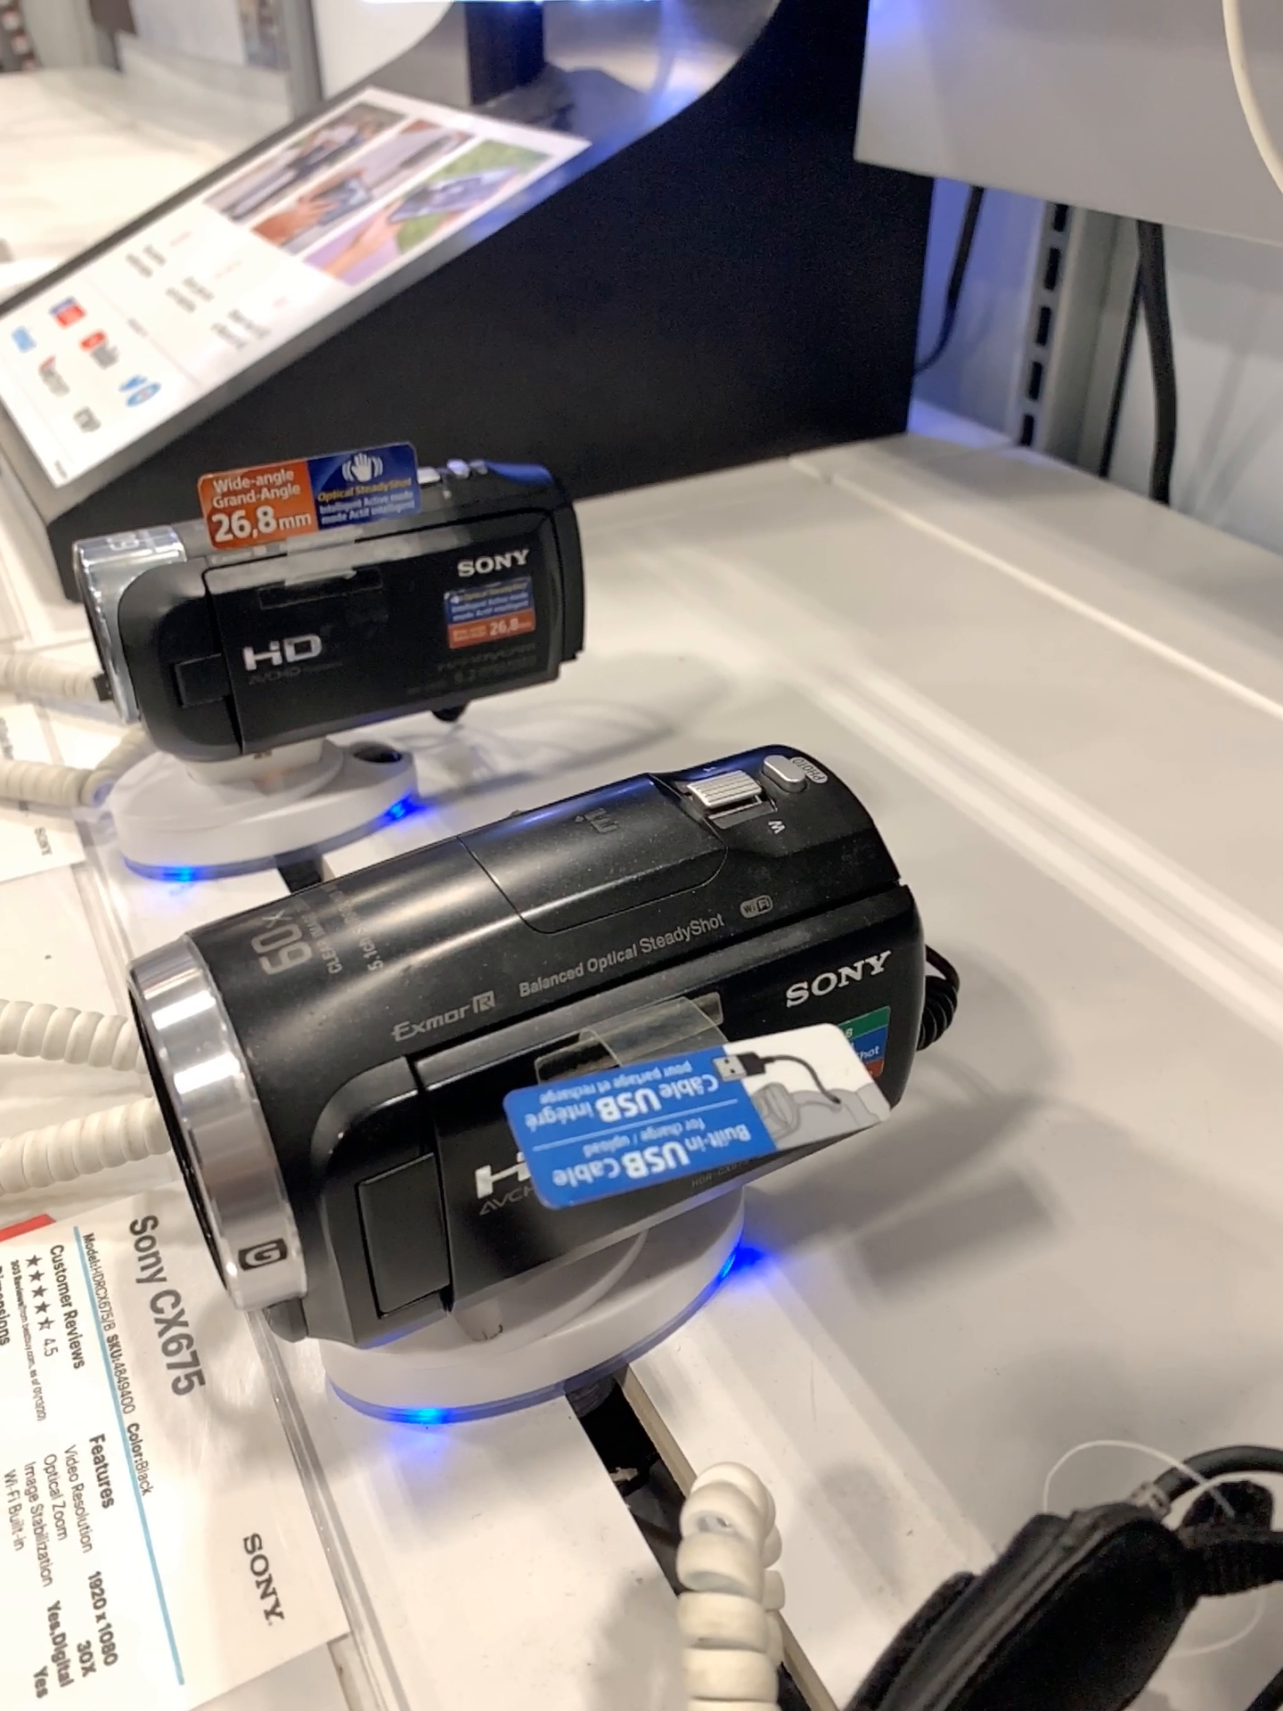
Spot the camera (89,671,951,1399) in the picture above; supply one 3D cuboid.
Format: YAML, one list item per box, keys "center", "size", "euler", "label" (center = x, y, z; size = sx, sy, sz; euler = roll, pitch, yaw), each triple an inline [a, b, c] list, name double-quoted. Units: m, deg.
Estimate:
- center: [-0.016, 0.022, 0.211]
  size: [0.112, 0.060, 0.054]
  euler: [-18, 39, -23]
  label: "camera"
